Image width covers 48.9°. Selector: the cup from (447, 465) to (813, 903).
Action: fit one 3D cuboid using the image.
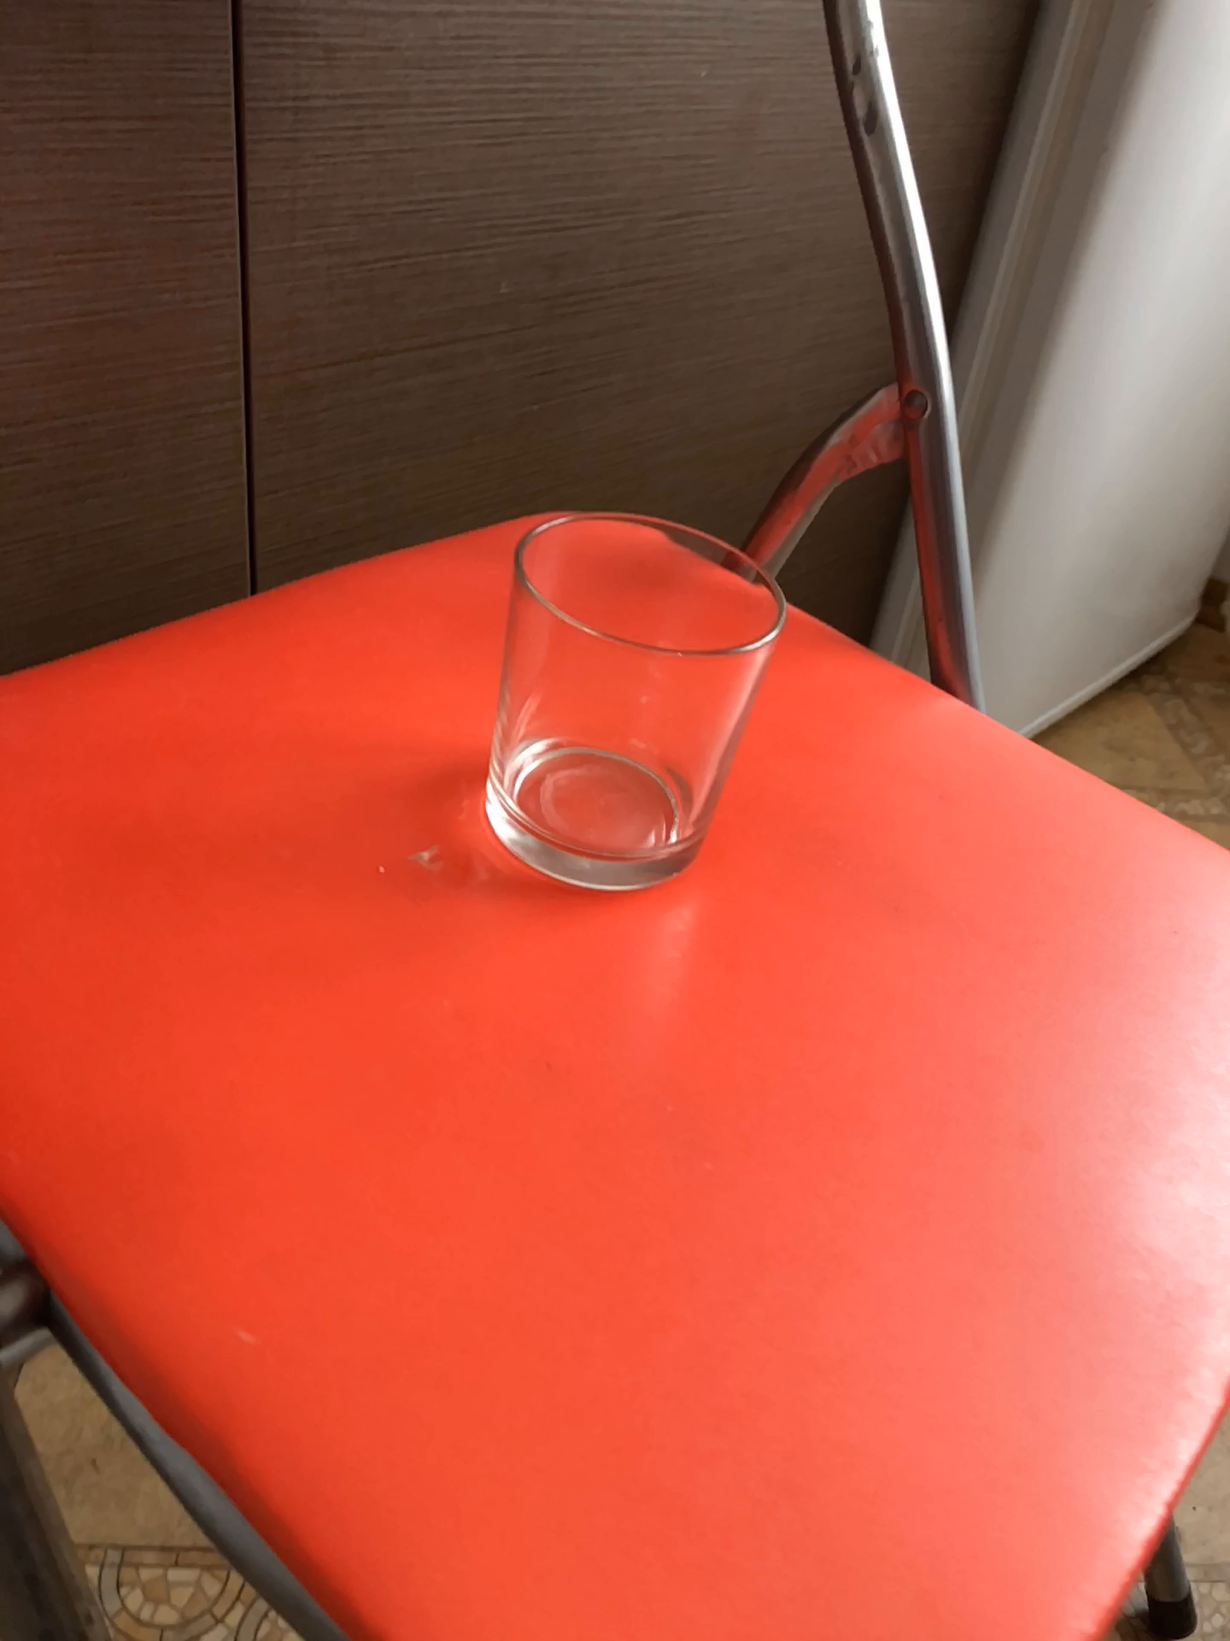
[{"bbox_3d":[0.001,-0.039,0.377,0.080,0.082,0.078,8,36,-6],"label":"cup"}]
